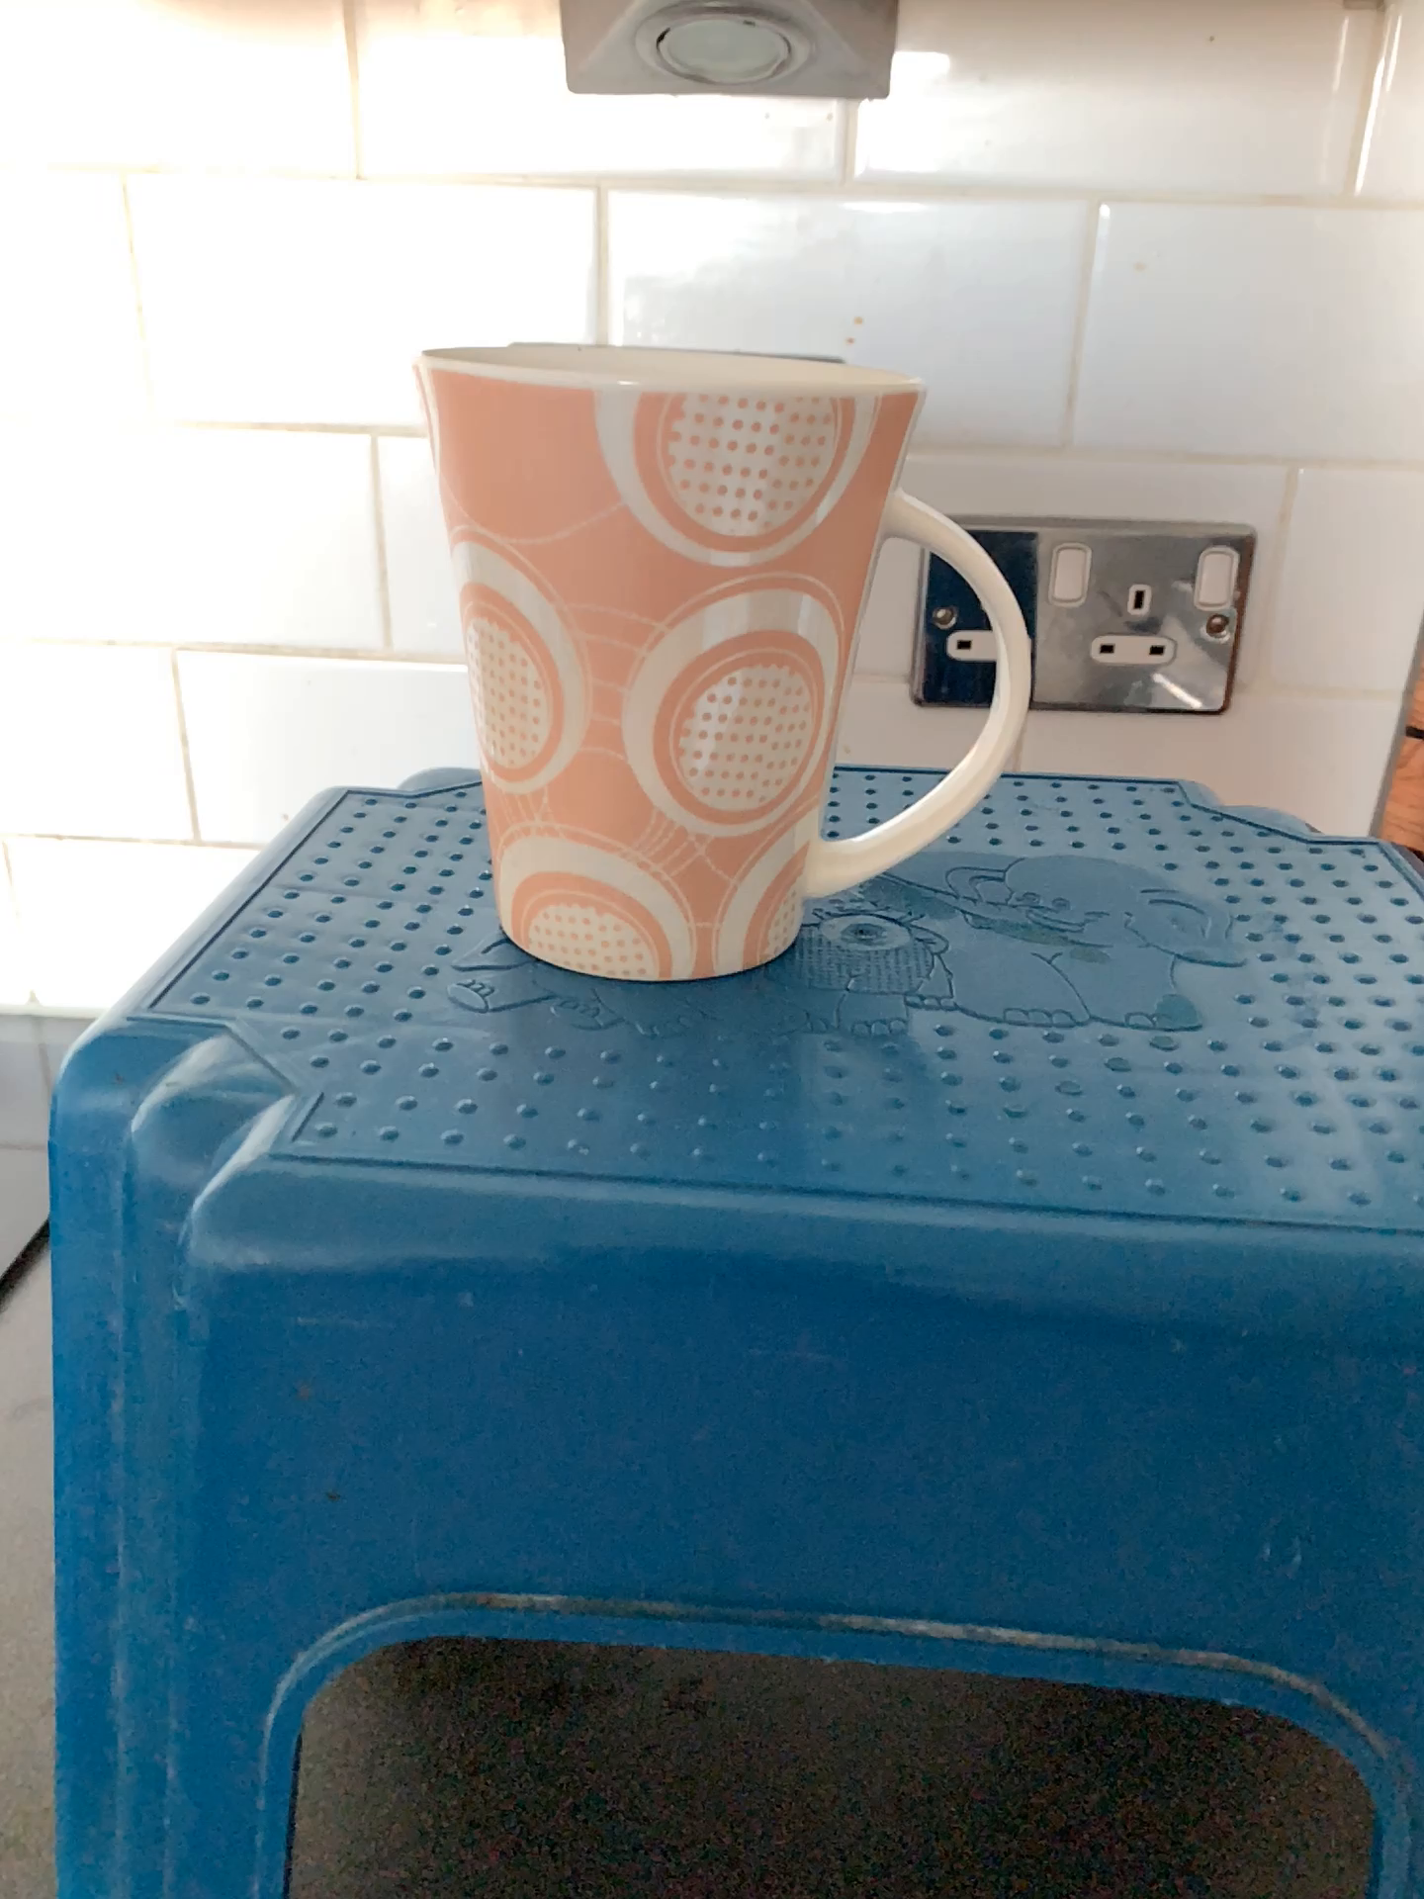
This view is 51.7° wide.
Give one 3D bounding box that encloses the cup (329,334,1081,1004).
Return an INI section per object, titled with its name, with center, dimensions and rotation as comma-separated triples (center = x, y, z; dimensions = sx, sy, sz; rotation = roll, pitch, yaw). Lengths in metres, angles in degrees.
[cup]
center = -0.002, -0.057, 0.283
dimensions = 0.116, 0.105, 0.078
rotation = 3, 25, 2
